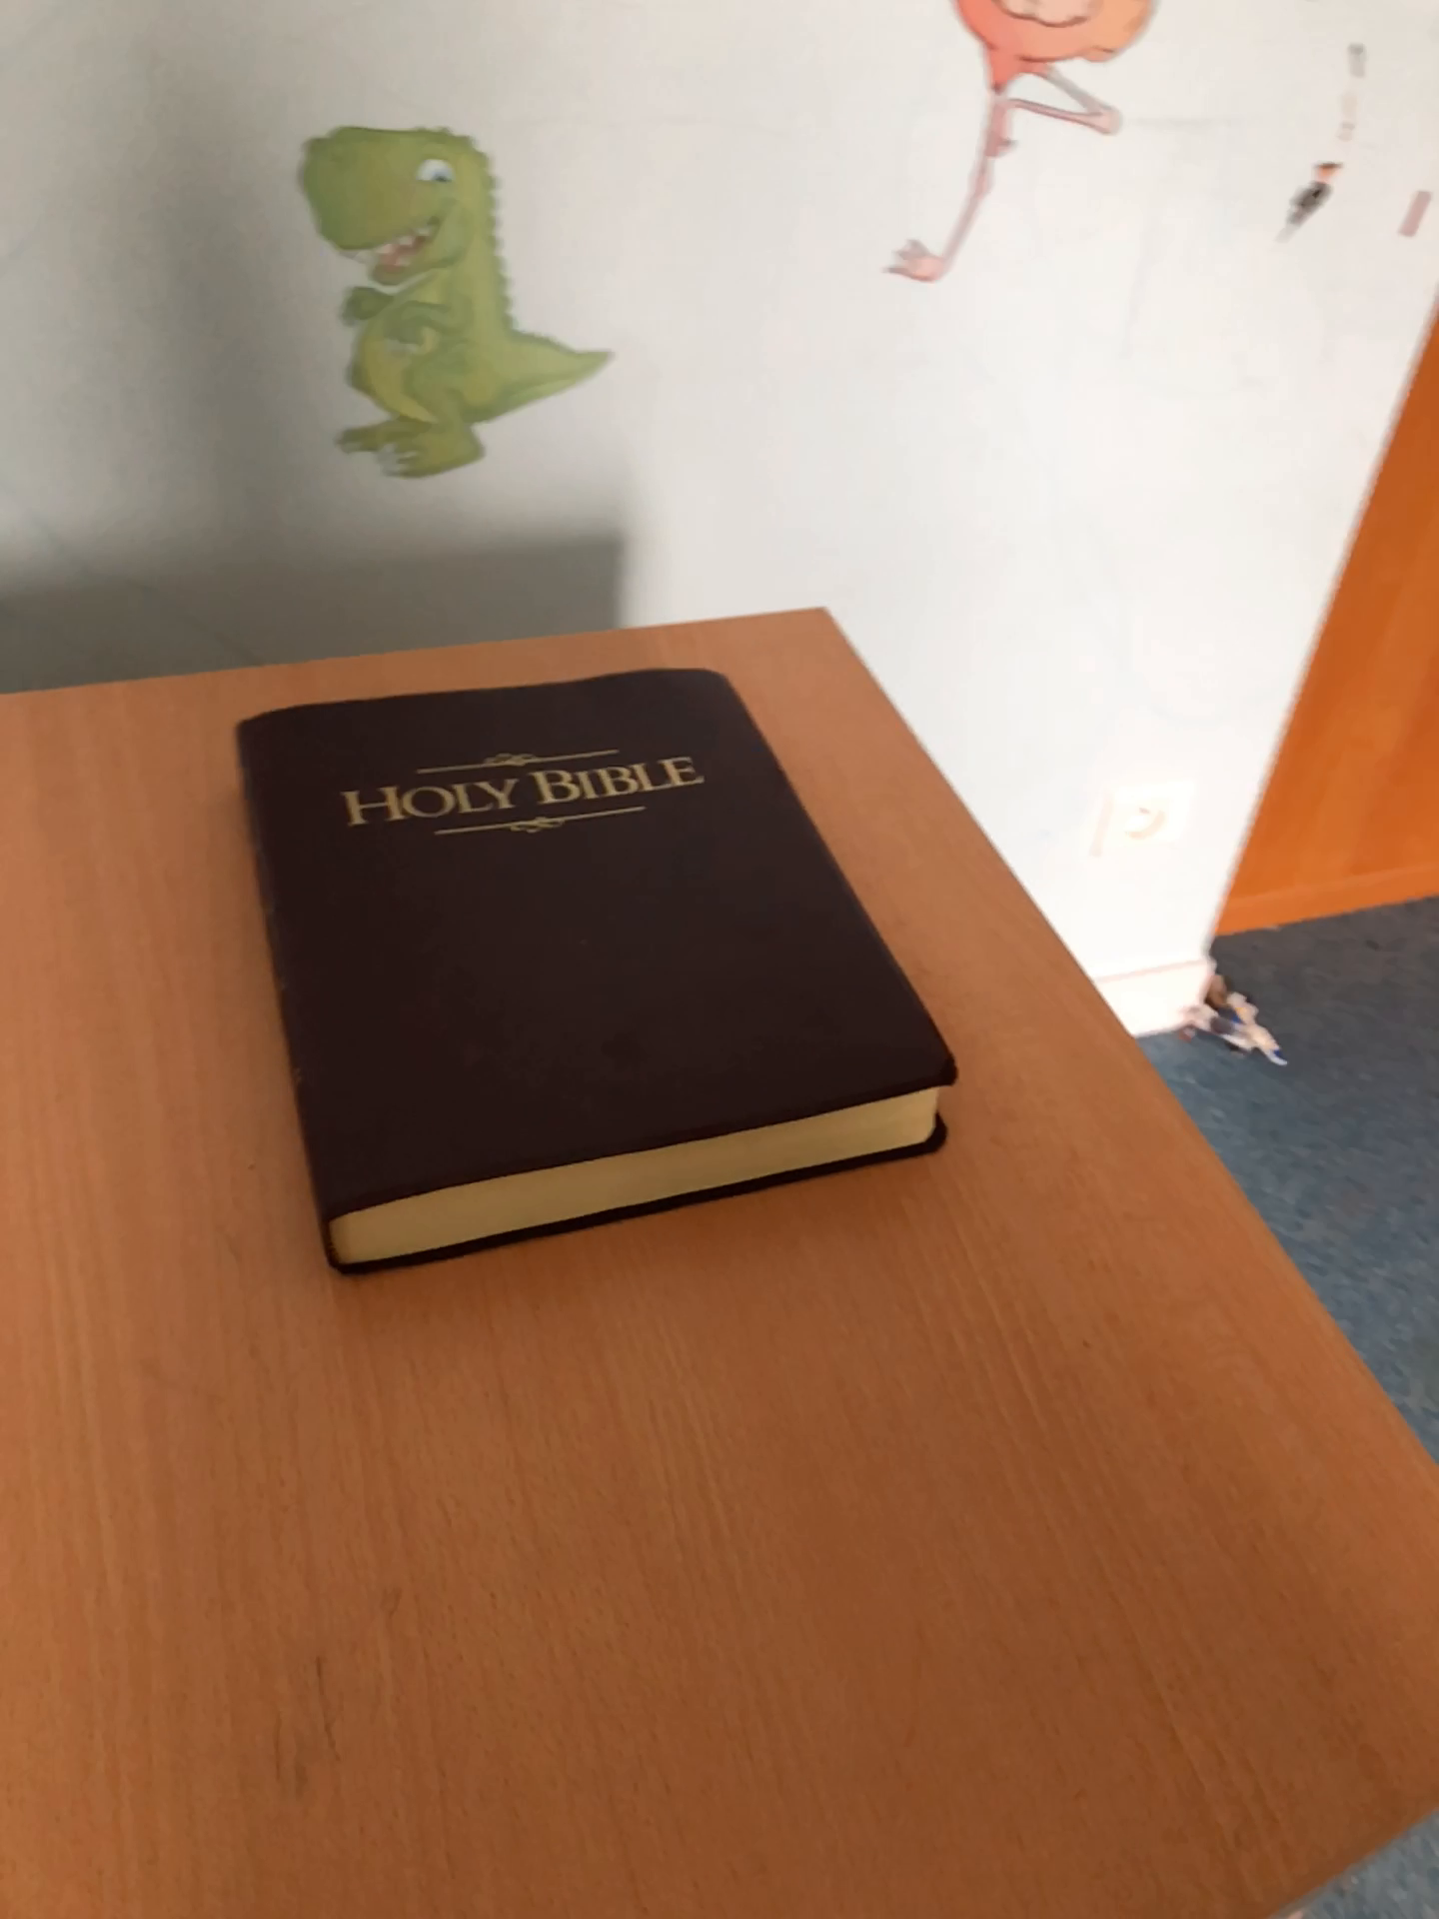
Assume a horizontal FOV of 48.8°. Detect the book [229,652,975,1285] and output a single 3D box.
[{"bbox_3d":[-0.062,-0.019,0.627,0.223,0.040,0.281,-9,44,-17],"label":"book"}]
